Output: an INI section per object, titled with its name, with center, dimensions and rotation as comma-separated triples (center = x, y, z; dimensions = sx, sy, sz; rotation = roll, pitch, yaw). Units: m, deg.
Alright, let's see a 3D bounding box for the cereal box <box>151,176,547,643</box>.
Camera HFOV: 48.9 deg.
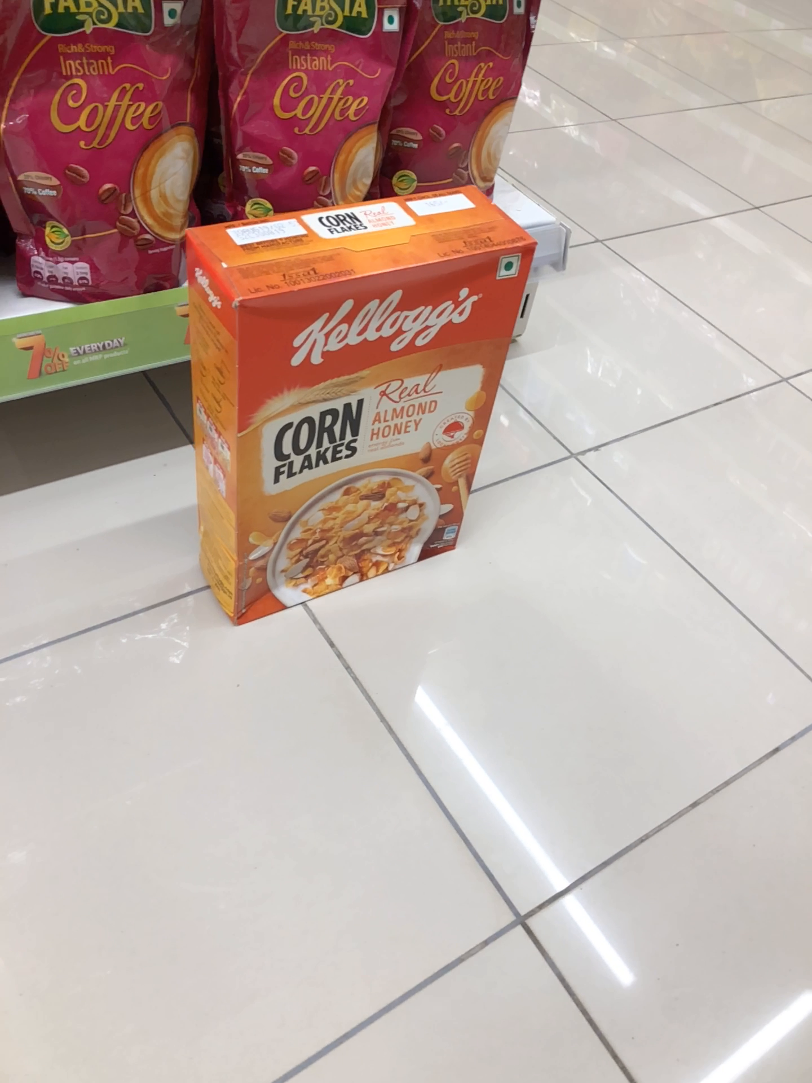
[cereal box]
center = -0.044, -0.078, 0.579
dimensions = 0.201, 0.268, 0.080
rotation = -17, 52, -25
